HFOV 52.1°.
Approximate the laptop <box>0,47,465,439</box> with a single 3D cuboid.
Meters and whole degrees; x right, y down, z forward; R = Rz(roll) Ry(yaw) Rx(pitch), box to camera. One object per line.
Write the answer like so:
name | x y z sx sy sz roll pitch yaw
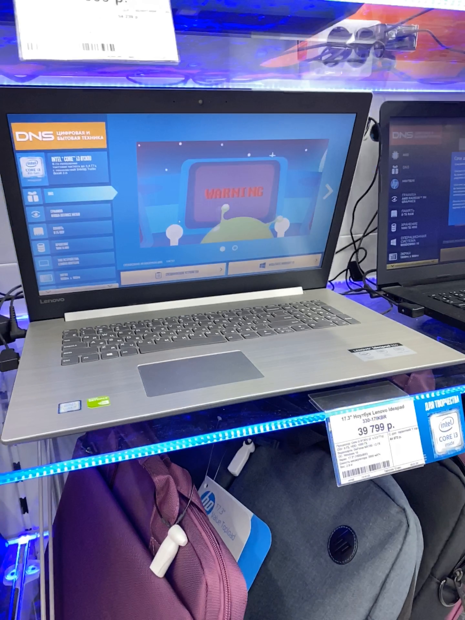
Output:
laptop | -0.014 -0.091 0.496 0.417 0.256 0.280 -7 18 -16
